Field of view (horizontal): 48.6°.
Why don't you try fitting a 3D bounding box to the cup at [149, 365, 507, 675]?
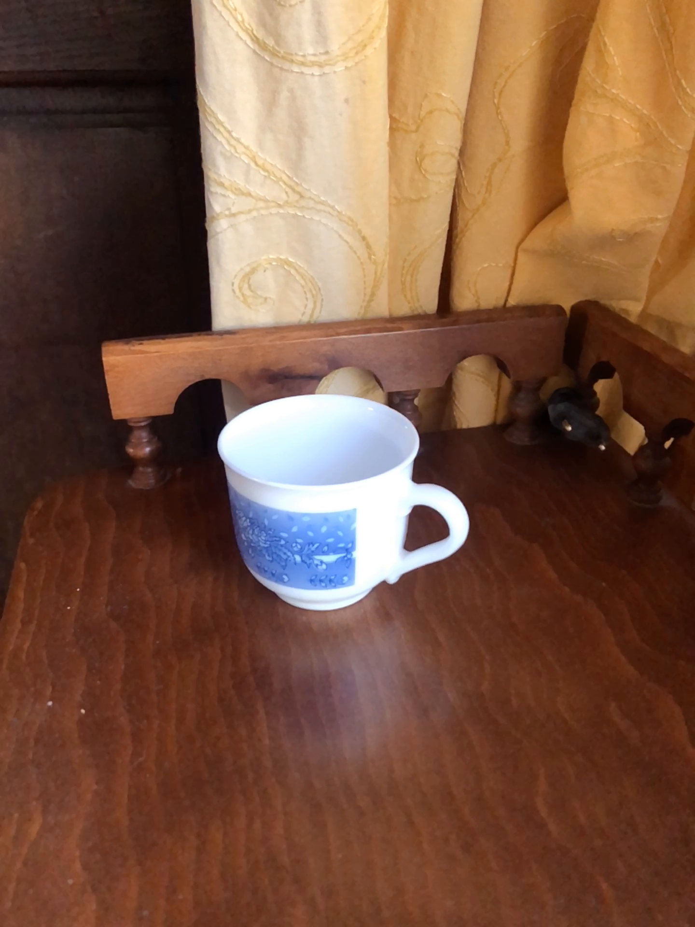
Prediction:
[{"bbox_3d":[-0.004,0.013,0.287,0.100,0.060,0.081,15,32,25],"label":"cup"}]
